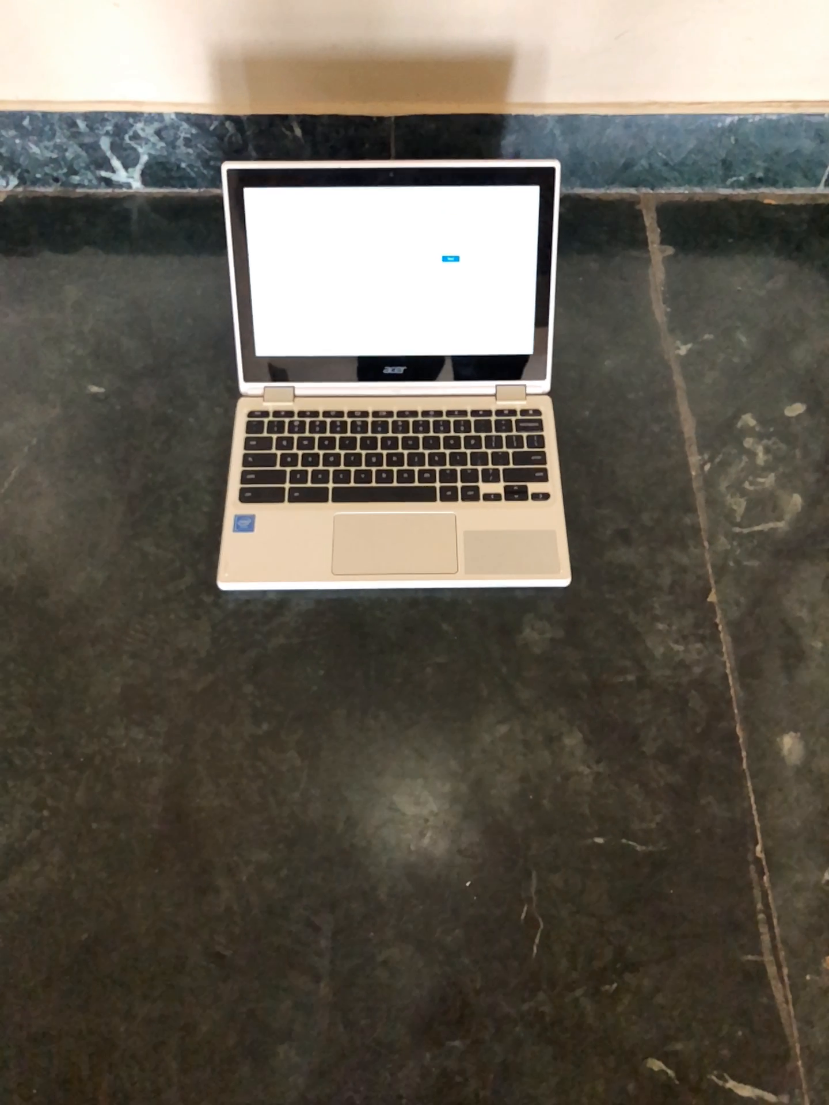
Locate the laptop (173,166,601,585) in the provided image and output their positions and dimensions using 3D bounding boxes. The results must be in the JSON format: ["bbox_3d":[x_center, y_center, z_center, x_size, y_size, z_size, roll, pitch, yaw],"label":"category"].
[{"bbox_3d":[-0.020,-0.149,0.750,0.280,0.156,0.315,-1,59,-1],"label":"laptop"}]
